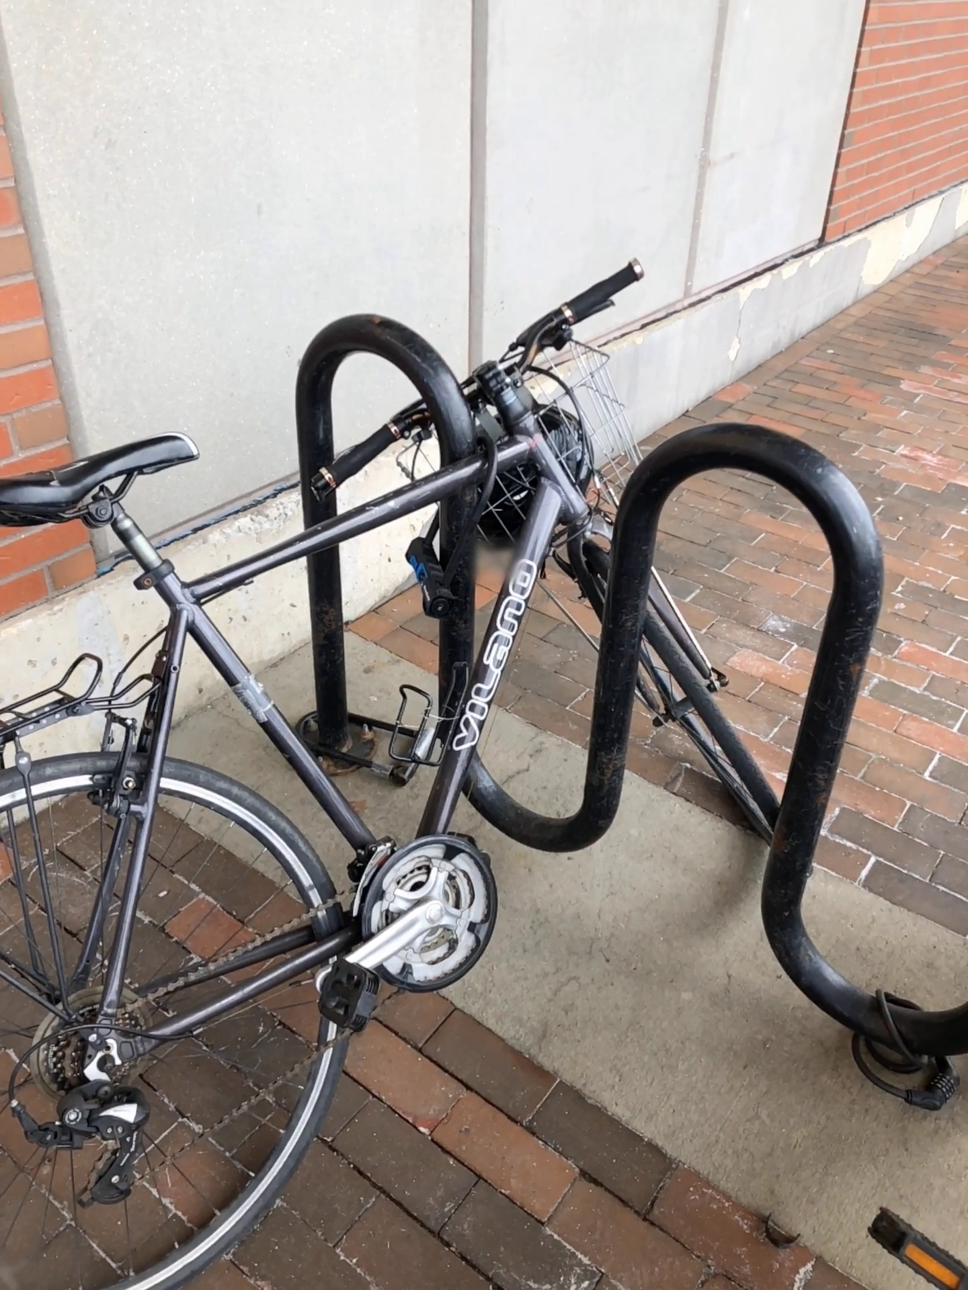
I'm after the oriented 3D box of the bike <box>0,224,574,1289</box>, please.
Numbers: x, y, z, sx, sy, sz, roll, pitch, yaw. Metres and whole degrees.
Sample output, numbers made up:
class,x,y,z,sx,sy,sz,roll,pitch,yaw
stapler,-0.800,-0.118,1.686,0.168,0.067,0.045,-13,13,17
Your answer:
class,x,y,z,sx,sy,sz,roll,pitch,yaw
bike,-0.543,-0.078,1.607,0.744,0.734,1.422,25,39,29
